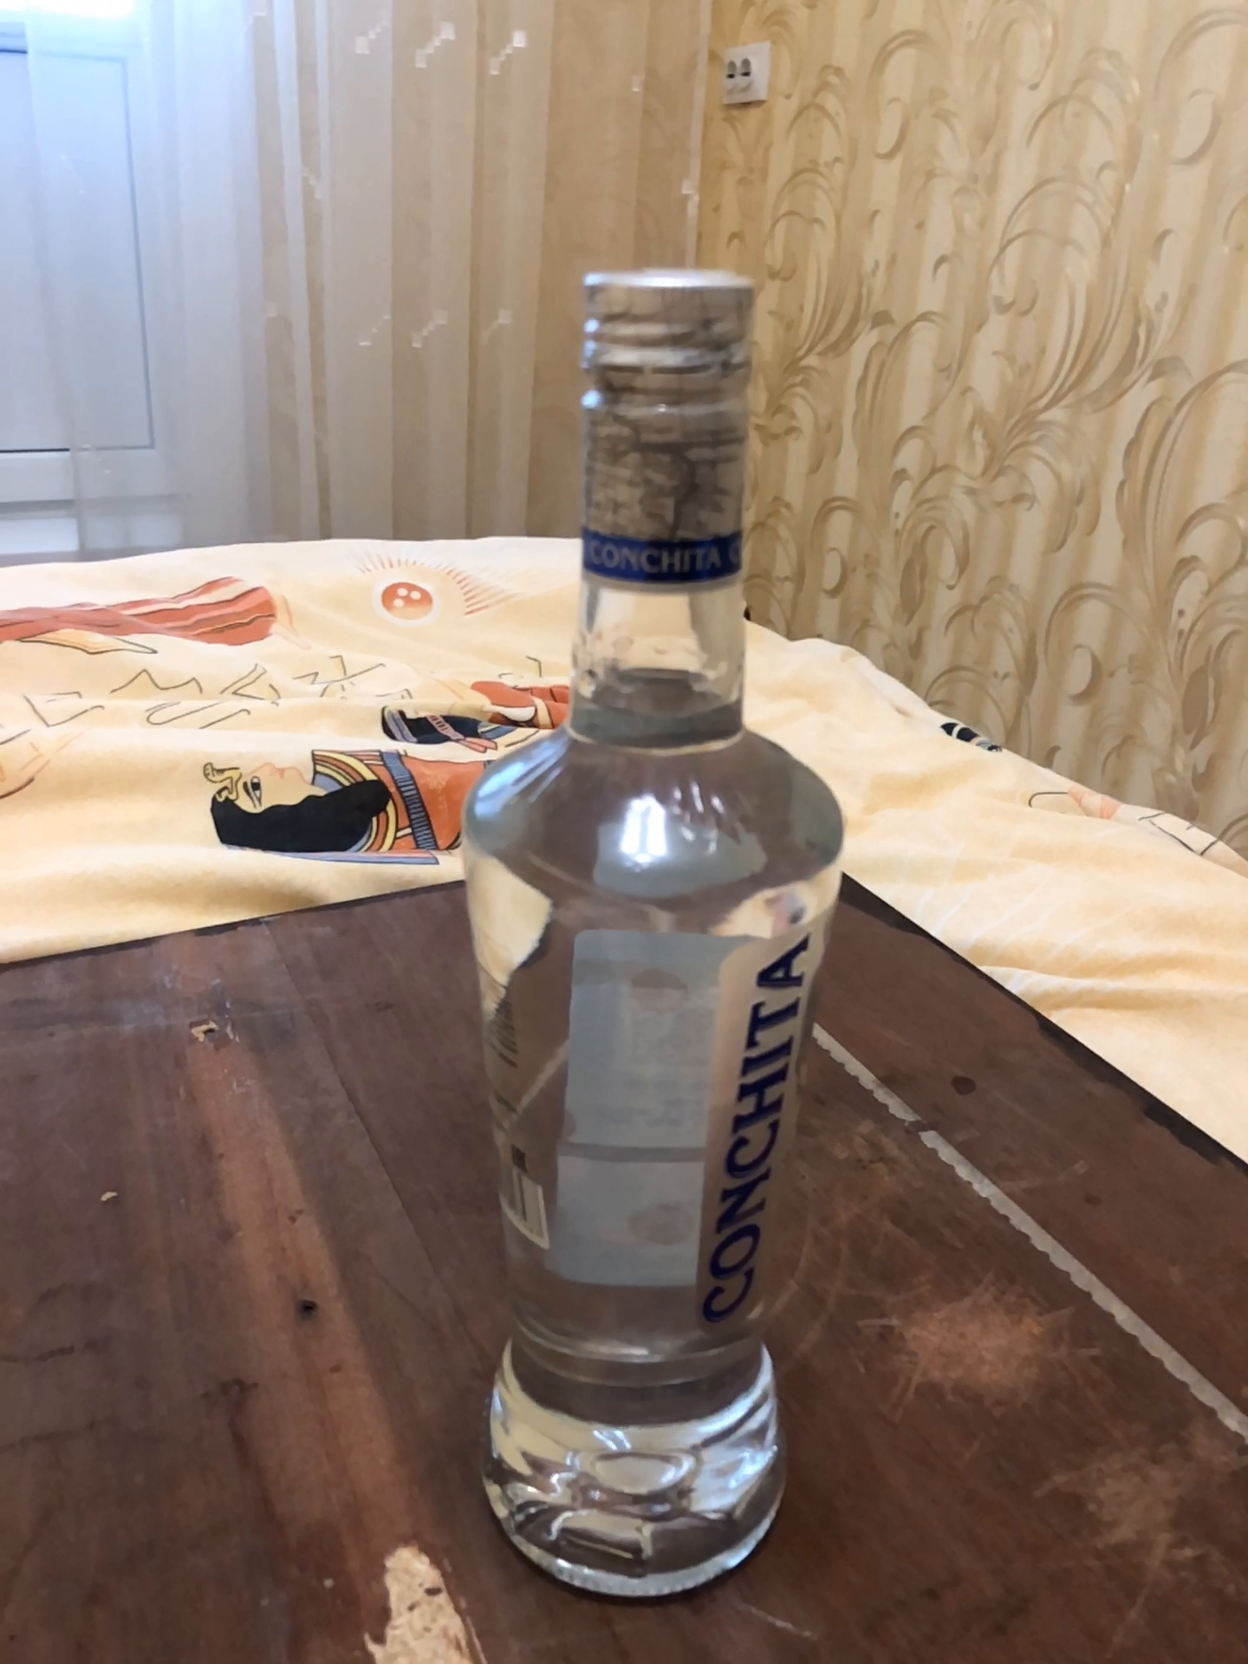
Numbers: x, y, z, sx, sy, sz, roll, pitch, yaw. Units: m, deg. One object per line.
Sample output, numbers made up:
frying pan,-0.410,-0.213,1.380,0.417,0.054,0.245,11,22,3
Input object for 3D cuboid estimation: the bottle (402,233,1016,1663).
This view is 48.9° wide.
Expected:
bottle,0.010,0.030,0.279,0.075,0.273,0.077,3,24,-1
